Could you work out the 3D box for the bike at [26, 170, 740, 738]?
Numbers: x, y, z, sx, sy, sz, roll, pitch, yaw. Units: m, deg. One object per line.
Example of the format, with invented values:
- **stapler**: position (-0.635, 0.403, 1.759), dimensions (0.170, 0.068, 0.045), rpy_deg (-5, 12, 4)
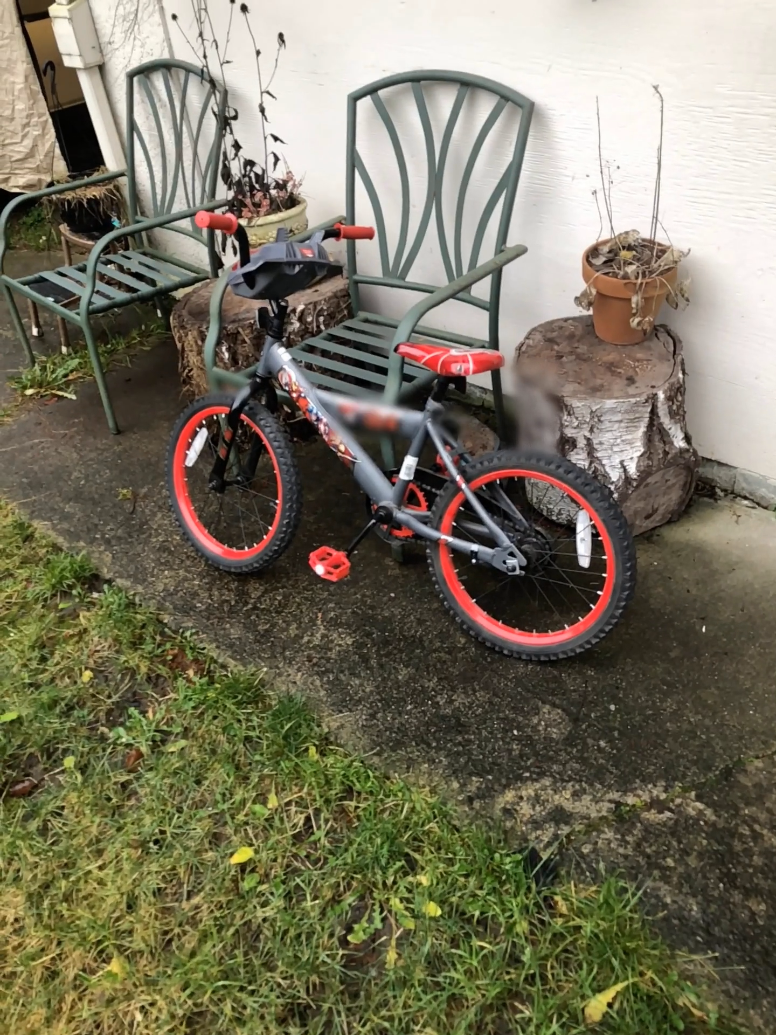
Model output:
- **bike**: position (-0.009, -0.216, 1.822), dimensions (1.202, 0.853, 0.603), rpy_deg (15, 43, 29)
